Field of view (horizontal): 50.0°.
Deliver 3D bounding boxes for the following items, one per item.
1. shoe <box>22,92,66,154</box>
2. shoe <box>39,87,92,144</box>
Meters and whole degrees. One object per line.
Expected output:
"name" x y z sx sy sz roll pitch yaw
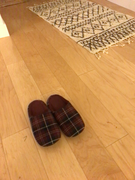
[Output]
"shoe" -0.117 0.129 0.653 0.120 0.030 0.271 -19 49 -14
"shoe" -0.019 0.100 0.674 0.120 0.030 0.271 -26 51 -20
